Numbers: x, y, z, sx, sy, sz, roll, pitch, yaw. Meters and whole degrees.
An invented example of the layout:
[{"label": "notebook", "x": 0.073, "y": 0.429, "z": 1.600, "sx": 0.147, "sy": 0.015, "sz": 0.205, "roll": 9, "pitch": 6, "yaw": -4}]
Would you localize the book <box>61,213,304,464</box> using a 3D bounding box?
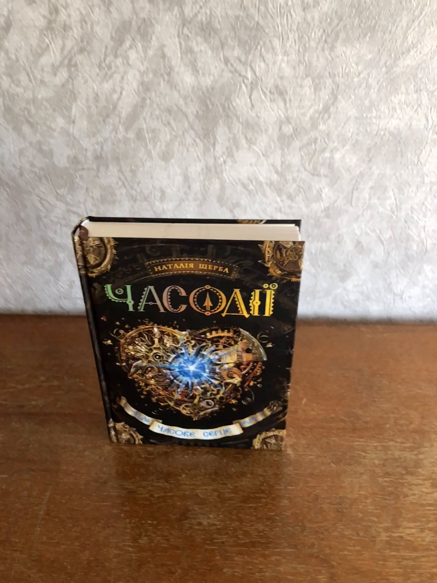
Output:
[{"label": "book", "x": -0.023, "y": 0.049, "z": 0.406, "sx": 0.166, "sy": 0.227, "sz": 0.042, "roll": 1, "pitch": 32, "yaw": 3}]
